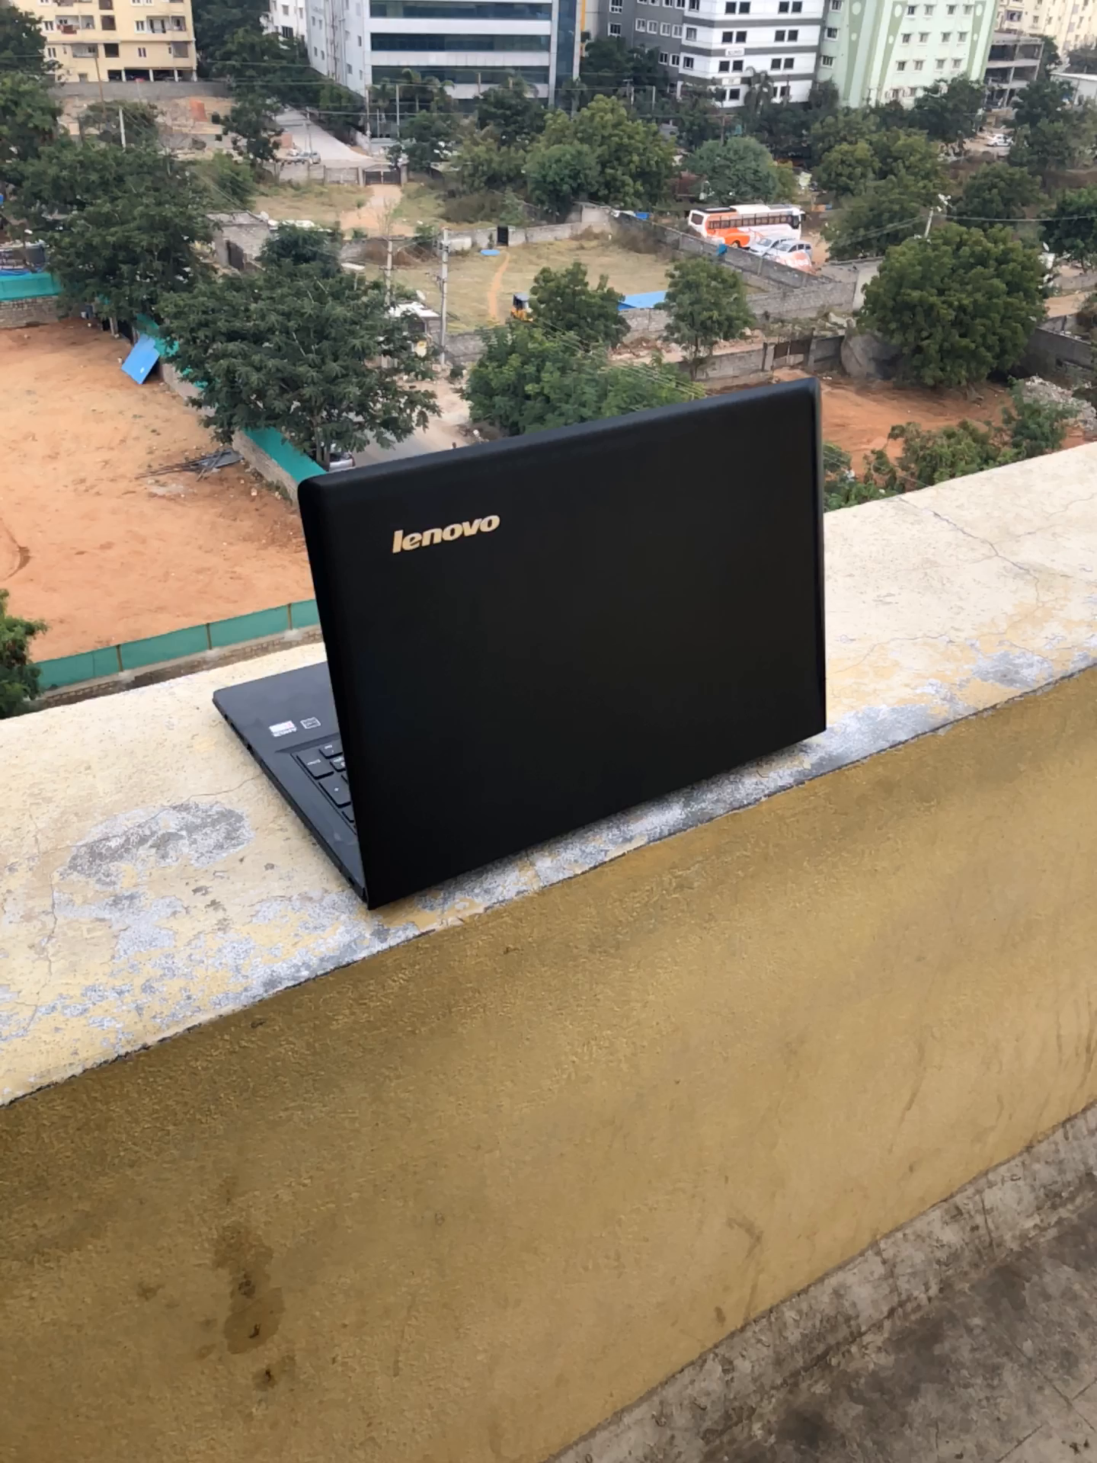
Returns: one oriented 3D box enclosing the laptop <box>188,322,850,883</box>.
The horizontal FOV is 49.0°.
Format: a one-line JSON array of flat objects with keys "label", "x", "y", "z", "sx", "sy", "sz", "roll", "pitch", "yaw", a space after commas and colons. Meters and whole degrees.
[{"label": "laptop", "x": -0.026, "y": -0.110, "z": 0.814, "sx": 0.334, "sy": 0.223, "sz": 0.246, "roll": -19, "pitch": 39, "yaw": -27}]
